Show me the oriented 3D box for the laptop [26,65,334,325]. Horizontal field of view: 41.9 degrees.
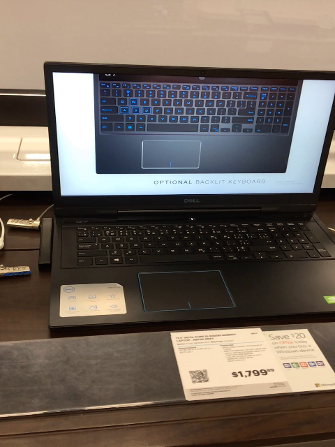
[{"bbox_3d":[0.062,-0.057,0.587,0.435,0.227,0.294,-2,38,-9],"label":"laptop"}]
